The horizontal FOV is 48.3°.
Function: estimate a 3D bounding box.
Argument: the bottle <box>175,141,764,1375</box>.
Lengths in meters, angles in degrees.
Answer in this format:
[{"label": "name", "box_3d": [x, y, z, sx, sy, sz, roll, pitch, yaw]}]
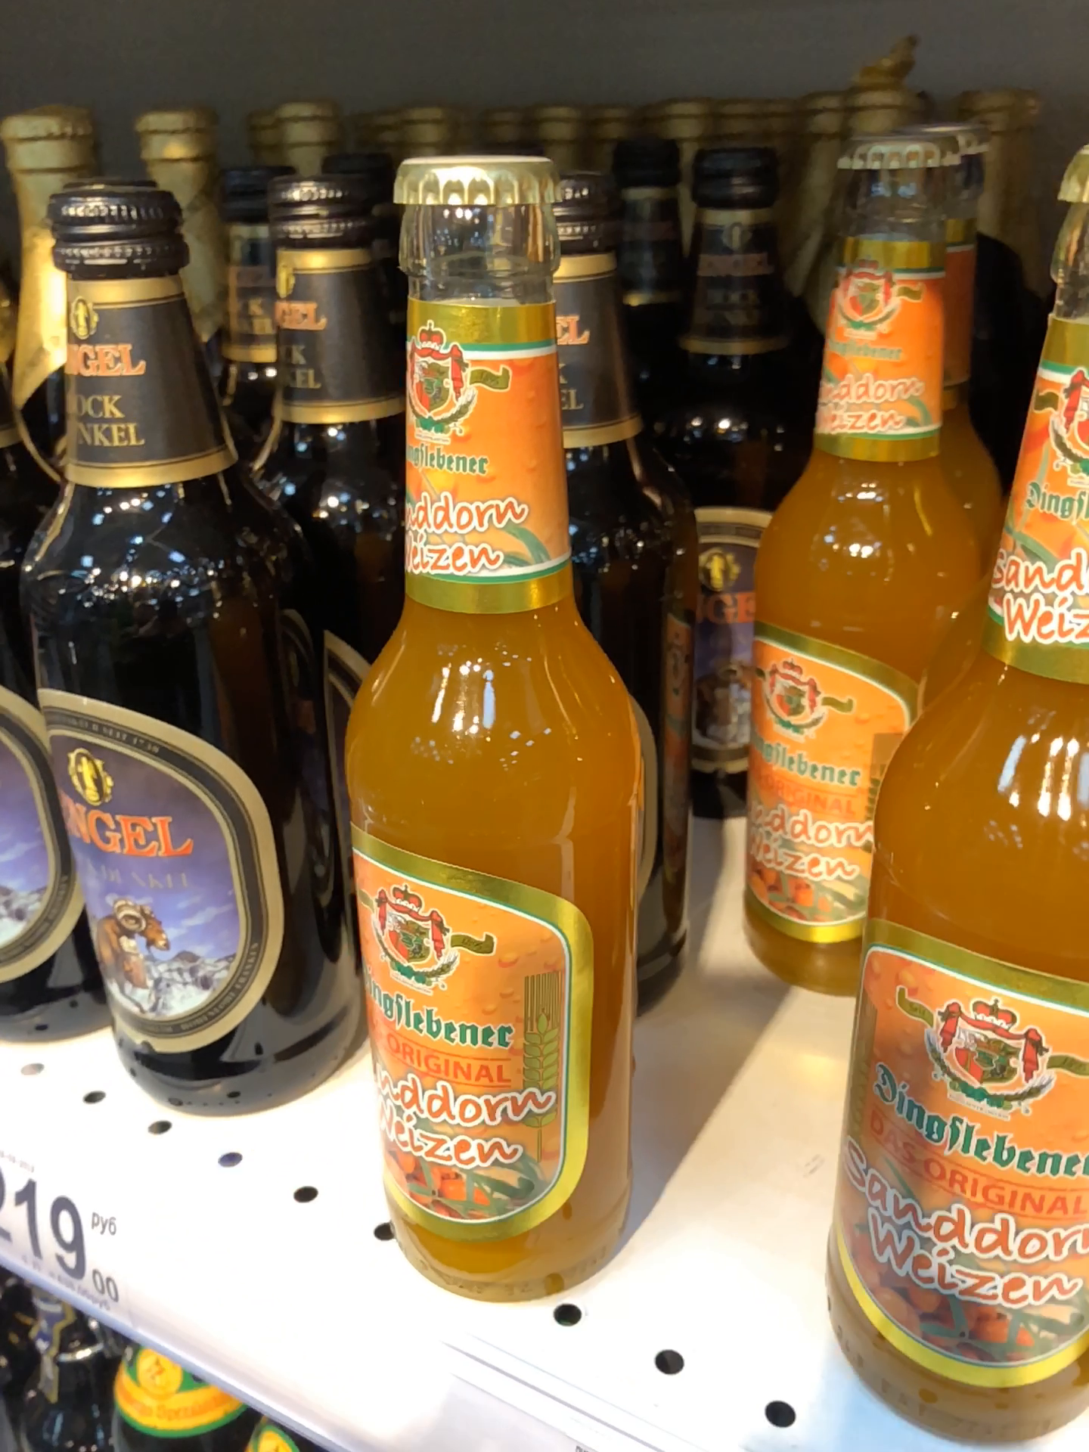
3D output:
[{"label": "bottle", "box_3d": [-0.008, 0.011, 0.239, 0.070, 0.225, 0.060, 15, 30, 31]}]
